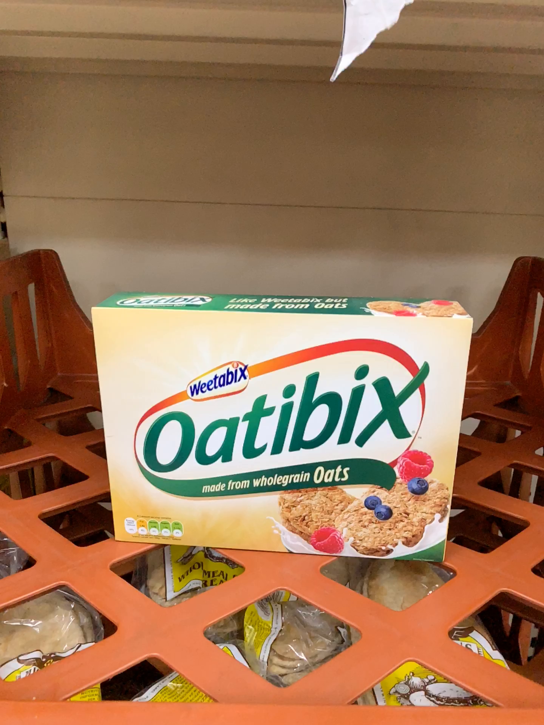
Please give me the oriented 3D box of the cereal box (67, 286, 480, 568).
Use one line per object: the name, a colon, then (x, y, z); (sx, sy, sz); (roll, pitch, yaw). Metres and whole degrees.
cereal box: (-0.001, 0.044, 0.411); (0.260, 0.179, 0.070); (2, 18, 5)
